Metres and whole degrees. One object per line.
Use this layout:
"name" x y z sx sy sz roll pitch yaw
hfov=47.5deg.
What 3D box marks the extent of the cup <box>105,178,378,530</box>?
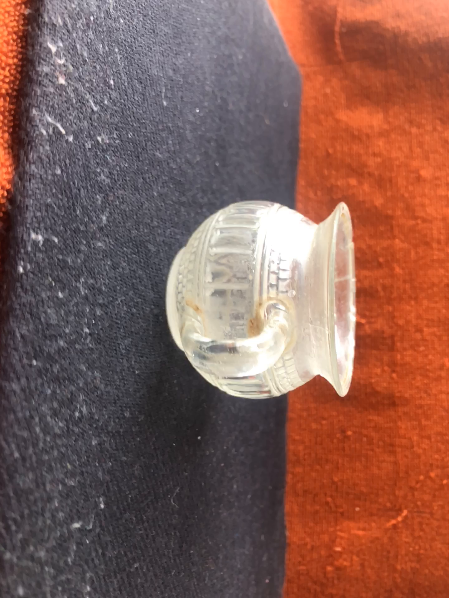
"cup" 0.018 0.013 0.173 0.090 0.060 0.070 -65 149 -50
